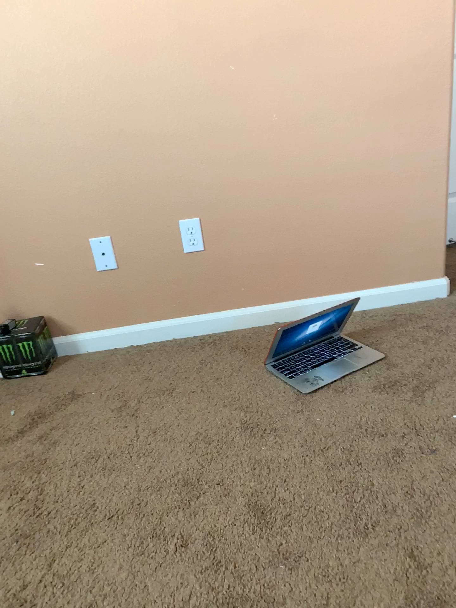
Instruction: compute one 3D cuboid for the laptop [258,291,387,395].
[{"bbox_3d":[0.269,0.098,1.318,0.299,0.148,0.193,-19,24,-25],"label":"laptop"}]
